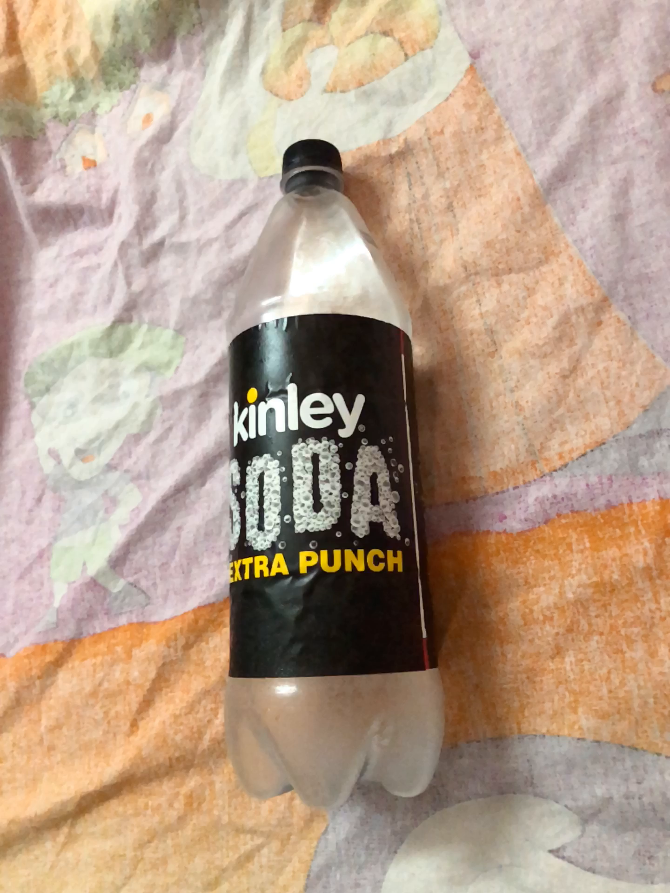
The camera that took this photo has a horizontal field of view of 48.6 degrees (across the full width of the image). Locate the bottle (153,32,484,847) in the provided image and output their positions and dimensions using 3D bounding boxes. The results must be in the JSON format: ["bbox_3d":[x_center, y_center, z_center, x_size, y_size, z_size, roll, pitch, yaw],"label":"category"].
[{"bbox_3d":[-0.007,-0.005,0.301,0.090,0.080,0.280,-8,79,18],"label":"bottle"}]
